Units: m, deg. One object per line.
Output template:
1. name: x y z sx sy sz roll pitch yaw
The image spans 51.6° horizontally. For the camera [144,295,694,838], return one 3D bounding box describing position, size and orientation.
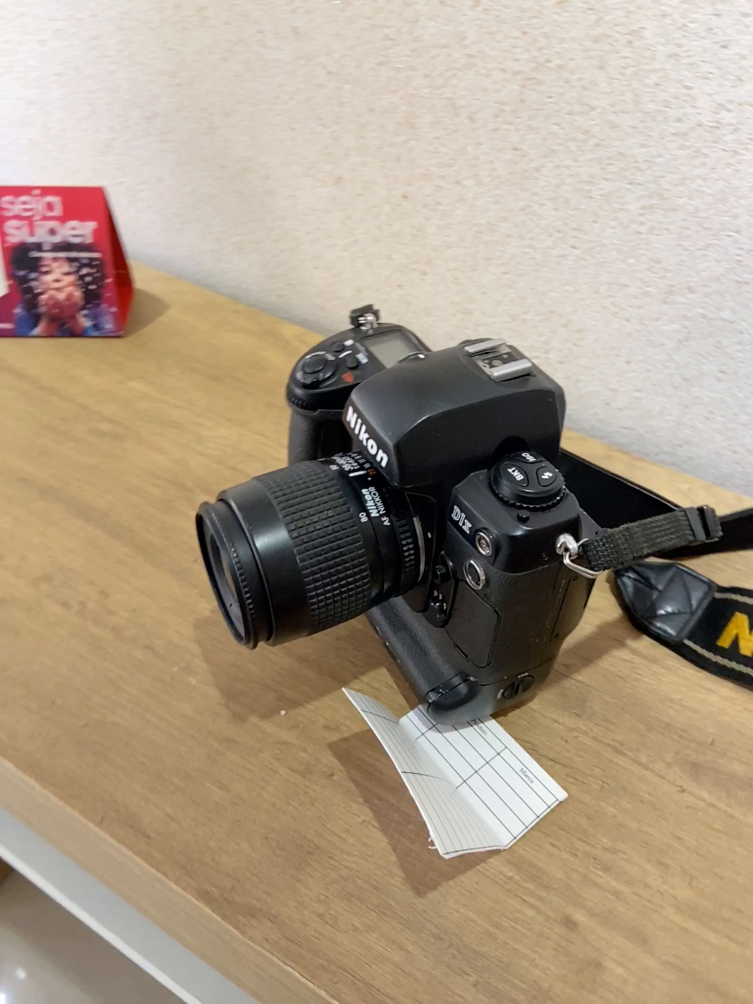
1. camera: 0.009 0.017 0.349 0.160 0.129 0.151 -21 47 -23
